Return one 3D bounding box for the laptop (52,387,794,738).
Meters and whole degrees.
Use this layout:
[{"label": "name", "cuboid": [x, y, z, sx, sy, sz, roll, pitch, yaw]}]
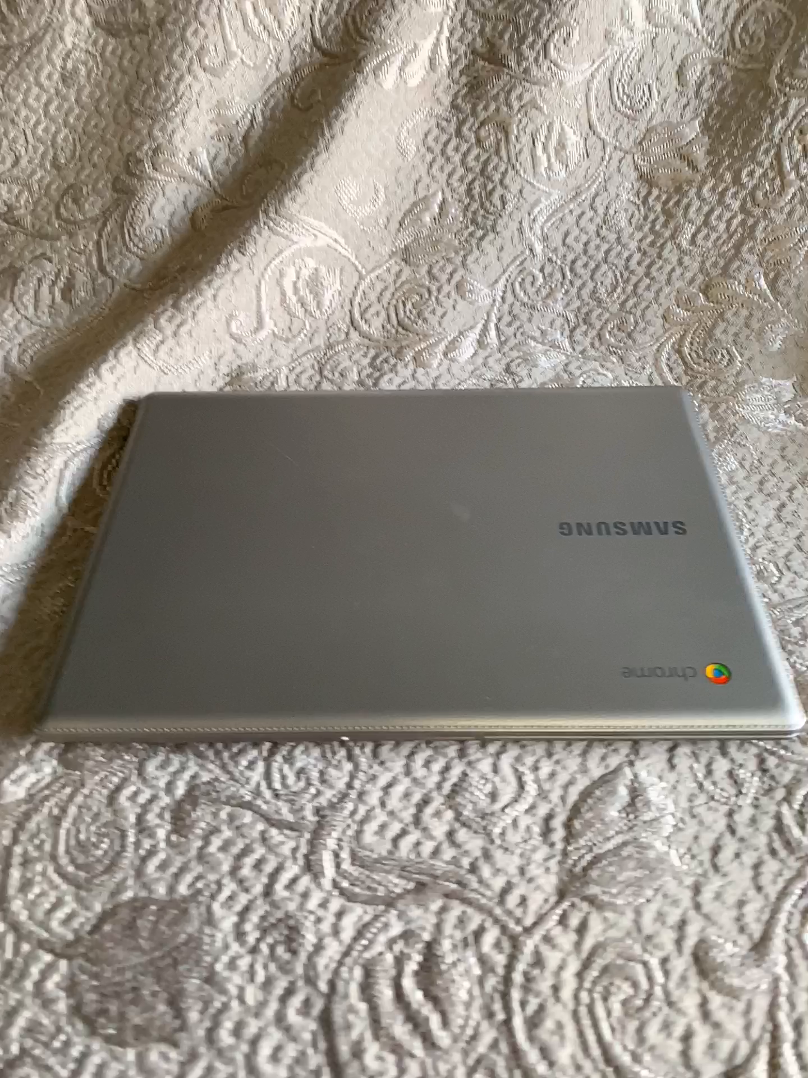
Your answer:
[{"label": "laptop", "cuboid": [0.005, -0.001, 0.351, 0.264, 0.005, 0.176, -1, 52, 0]}]
